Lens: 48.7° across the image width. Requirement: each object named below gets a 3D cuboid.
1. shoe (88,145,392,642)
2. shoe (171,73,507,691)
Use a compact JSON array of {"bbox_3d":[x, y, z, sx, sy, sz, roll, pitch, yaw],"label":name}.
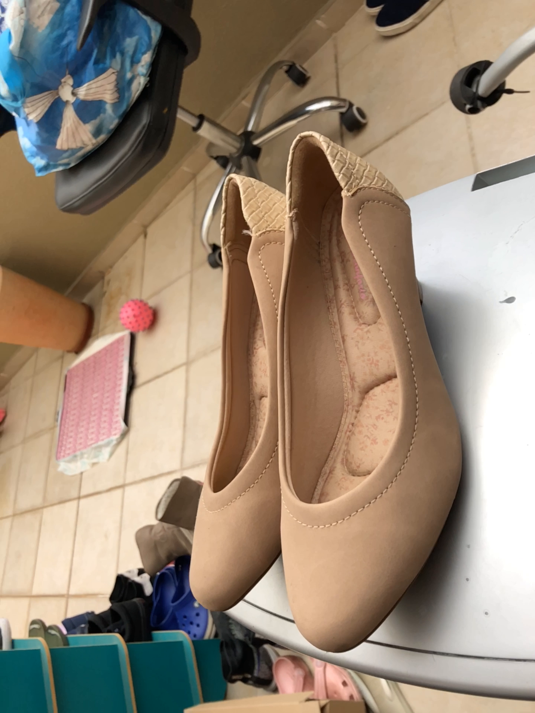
[{"bbox_3d":[-0.009,0.025,0.356,0.090,0.119,0.244,-8,70,50],"label":"shoe"},{"bbox_3d":[0.042,0.014,0.296,0.090,0.119,0.244,-14,65,48],"label":"shoe"}]
